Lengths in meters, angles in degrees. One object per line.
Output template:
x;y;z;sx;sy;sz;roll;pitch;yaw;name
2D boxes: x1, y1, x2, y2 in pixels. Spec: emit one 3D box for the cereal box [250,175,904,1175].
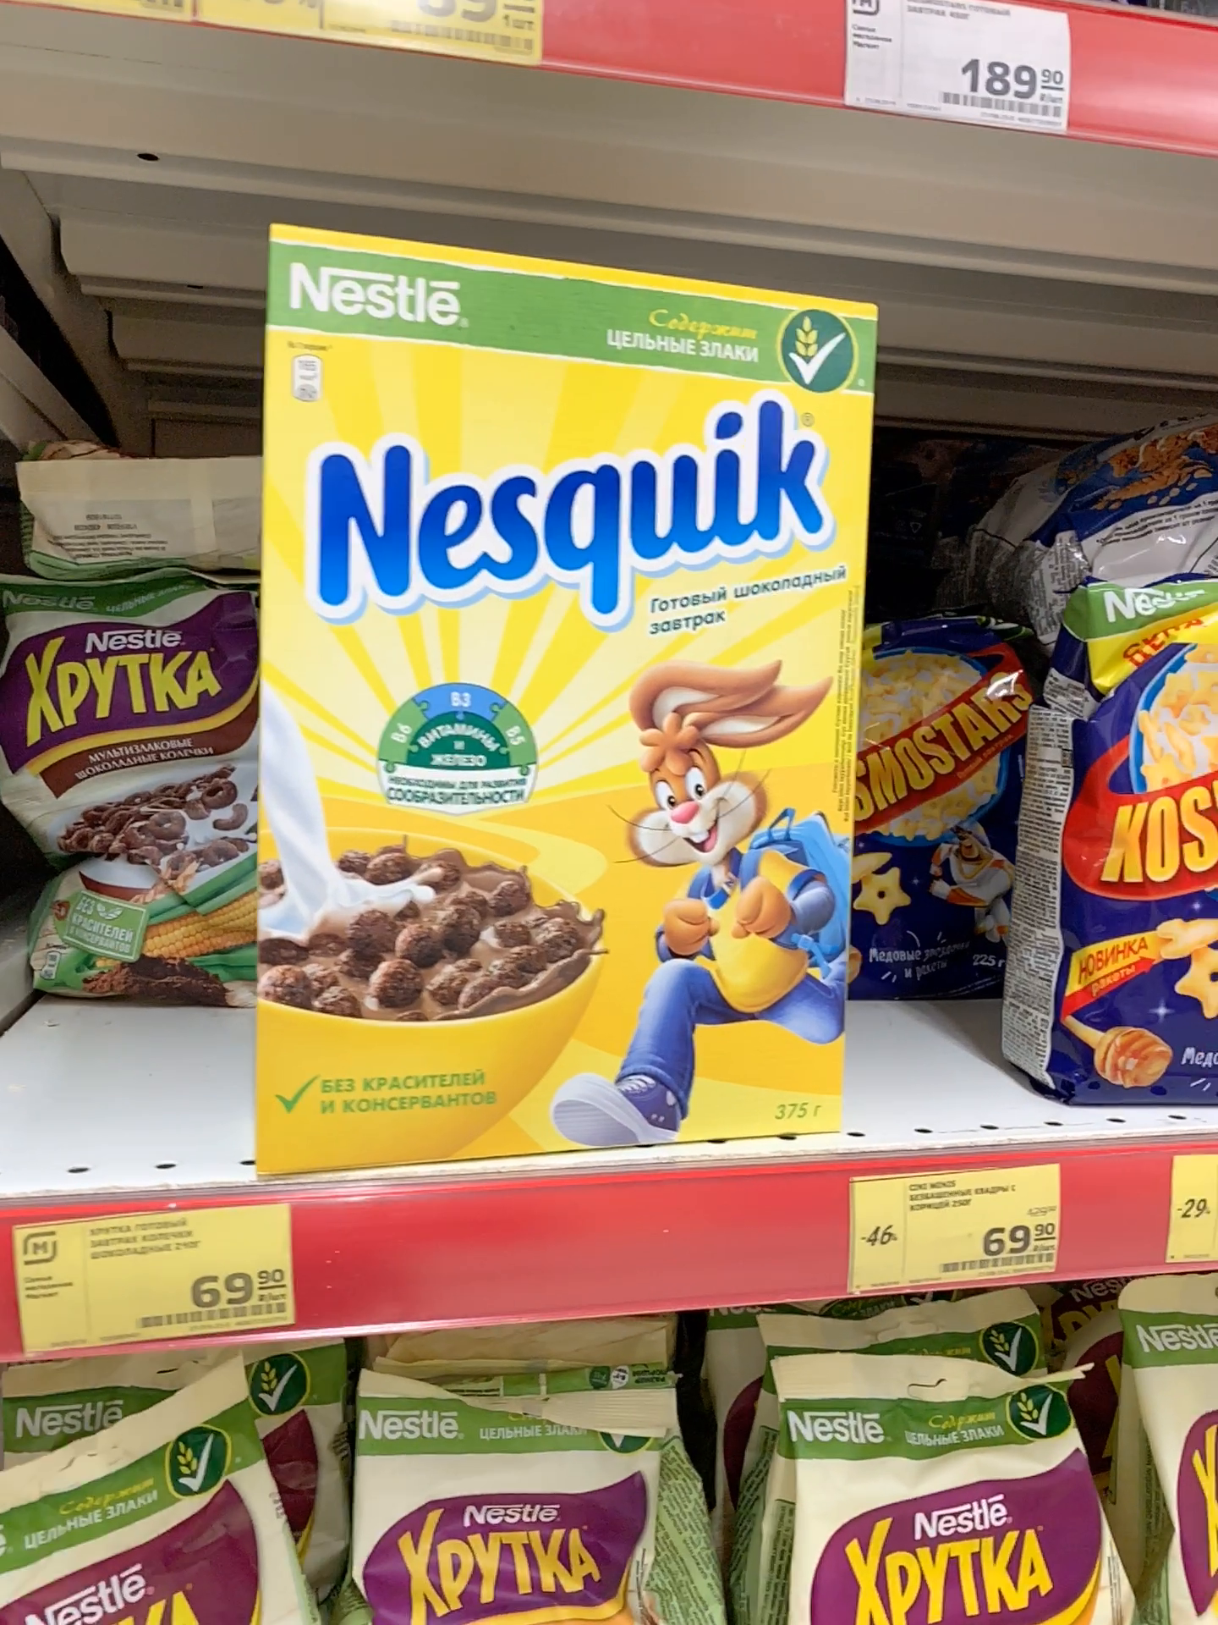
-0.013;-0.036;0.396;0.190;0.270;0.060;0;4;-17;cereal box
